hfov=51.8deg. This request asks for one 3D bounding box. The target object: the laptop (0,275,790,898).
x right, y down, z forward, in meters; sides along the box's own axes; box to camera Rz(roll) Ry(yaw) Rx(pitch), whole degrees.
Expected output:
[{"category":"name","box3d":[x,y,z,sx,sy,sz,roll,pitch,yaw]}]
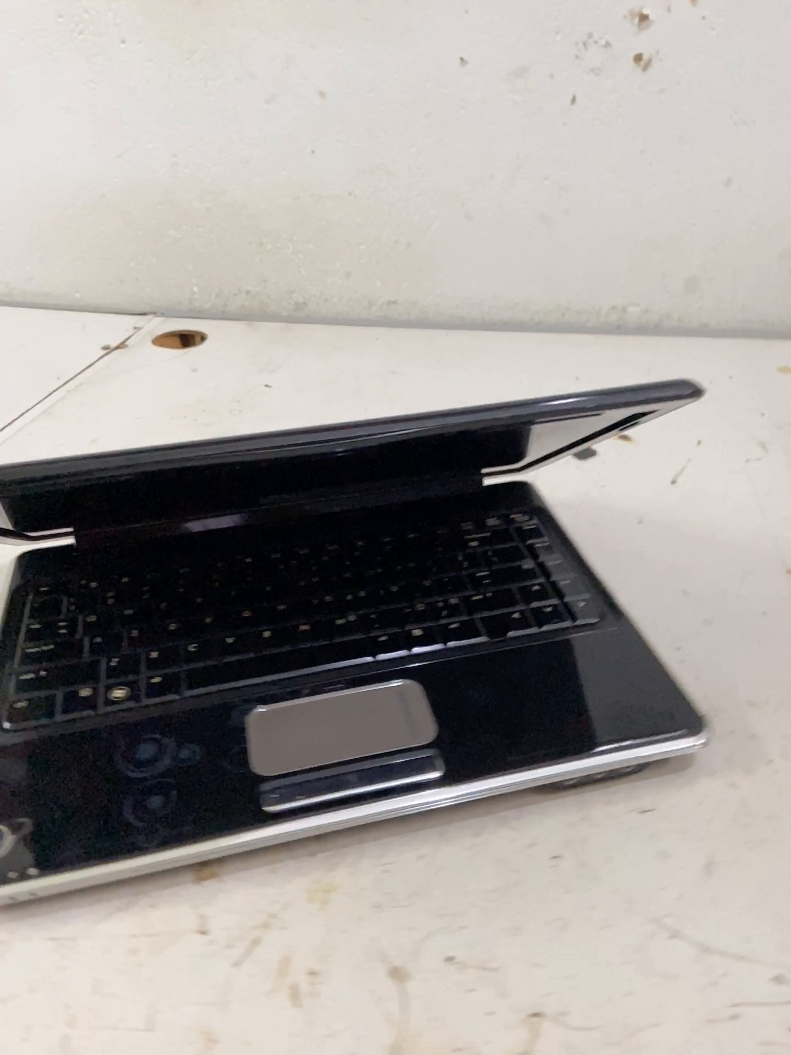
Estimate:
[{"category":"laptop","box3d":[-0.042,-0.004,0.396,0.328,0.137,0.232,-8,35,-11]}]
